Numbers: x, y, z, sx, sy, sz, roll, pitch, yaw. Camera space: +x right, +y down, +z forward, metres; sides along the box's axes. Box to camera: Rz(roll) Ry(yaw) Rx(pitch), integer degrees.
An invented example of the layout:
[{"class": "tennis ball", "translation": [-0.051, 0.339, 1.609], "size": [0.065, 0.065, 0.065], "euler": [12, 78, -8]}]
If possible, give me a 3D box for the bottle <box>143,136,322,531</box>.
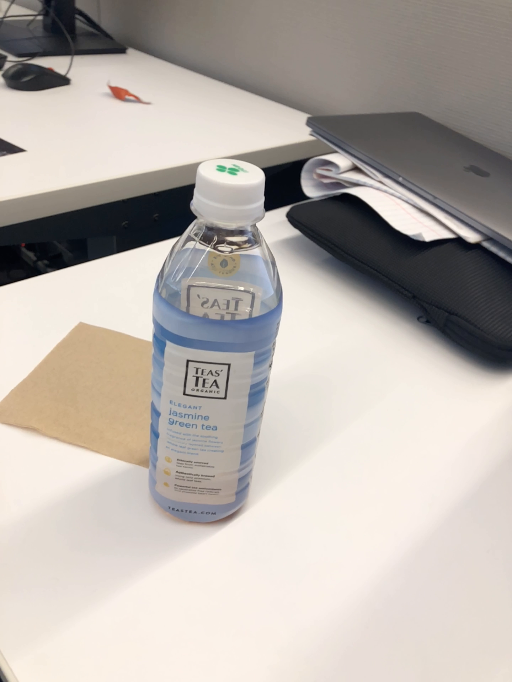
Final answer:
[{"class": "bottle", "translation": [-0.020, 0.007, 0.316], "size": [0.070, 0.209, 0.070], "euler": [6, 35, -4]}]
